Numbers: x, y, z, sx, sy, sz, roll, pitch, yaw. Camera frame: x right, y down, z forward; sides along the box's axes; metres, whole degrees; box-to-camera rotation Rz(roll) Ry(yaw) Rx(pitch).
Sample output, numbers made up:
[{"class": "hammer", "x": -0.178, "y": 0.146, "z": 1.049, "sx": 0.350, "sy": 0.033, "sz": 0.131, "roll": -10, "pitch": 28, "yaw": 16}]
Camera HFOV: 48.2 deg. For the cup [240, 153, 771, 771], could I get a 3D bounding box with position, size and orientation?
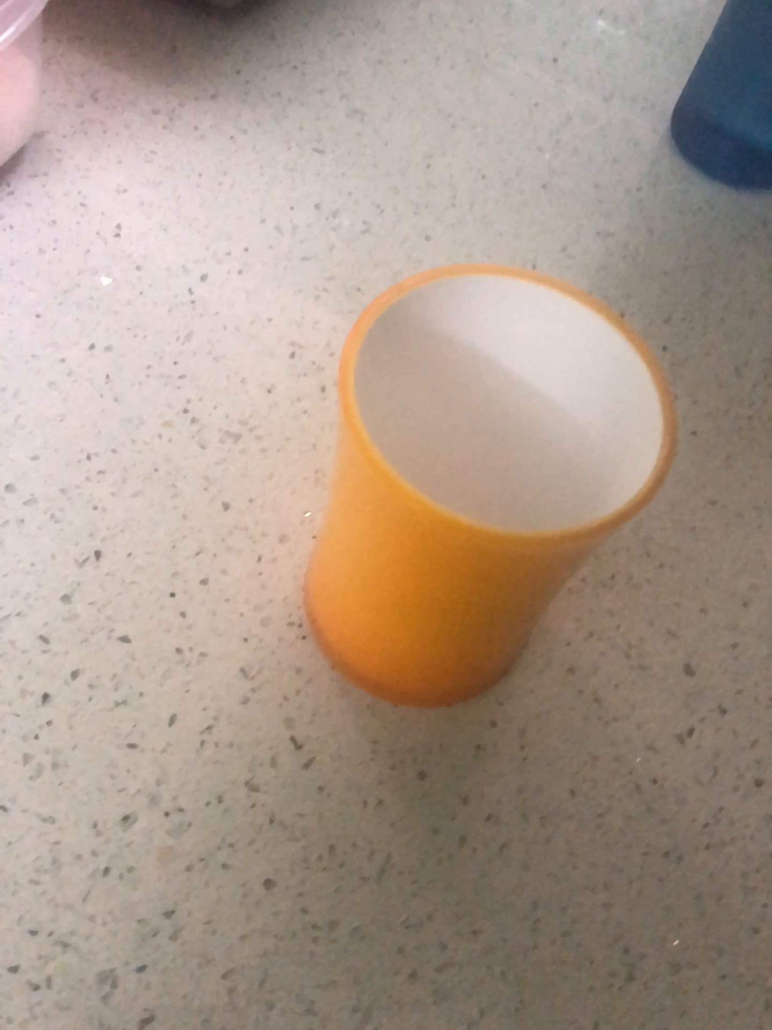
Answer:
[{"class": "cup", "x": 0.020, "y": -0.007, "z": 0.213, "sx": 0.080, "sy": 0.110, "sz": 0.080, "roll": 5, "pitch": 58, "yaw": -7}]
